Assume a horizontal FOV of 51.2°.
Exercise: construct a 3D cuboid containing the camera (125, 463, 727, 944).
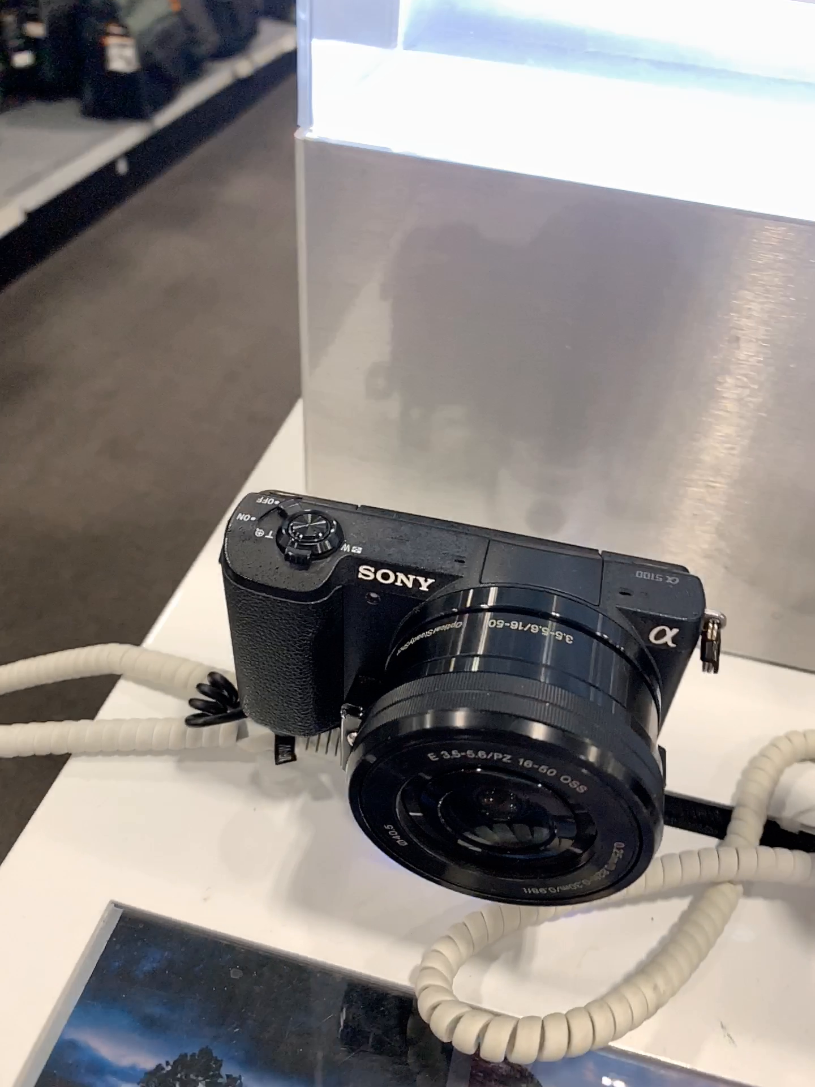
[{"bbox_3d":[0.006,0.035,0.199,0.112,0.060,0.066,11,44,6],"label":"camera"}]
